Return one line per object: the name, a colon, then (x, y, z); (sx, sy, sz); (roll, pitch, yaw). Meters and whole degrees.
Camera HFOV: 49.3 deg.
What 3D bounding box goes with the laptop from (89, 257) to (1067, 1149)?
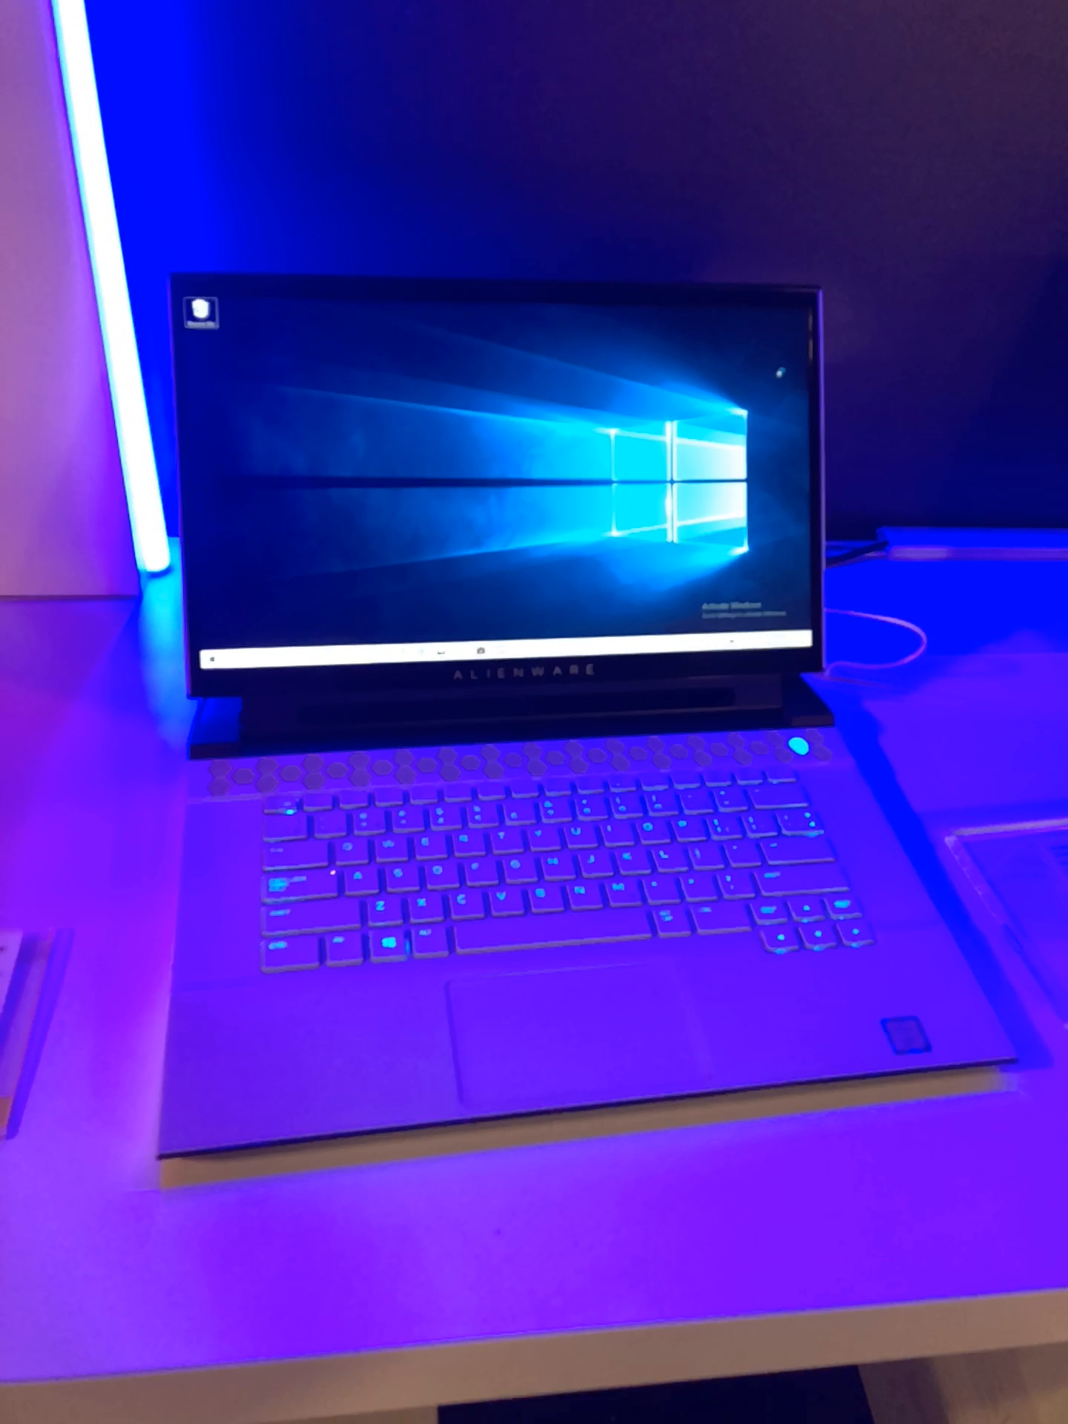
laptop: (0.012, -0.040, 0.557); (0.356, 0.194, 0.381); (-2, 41, -10)
